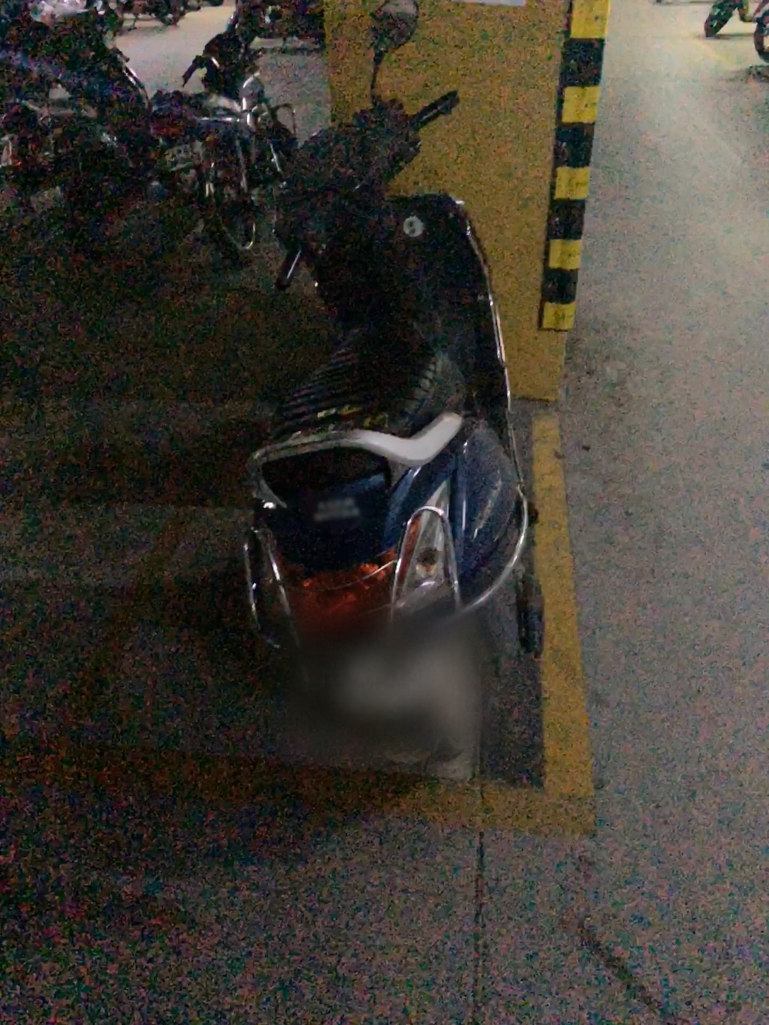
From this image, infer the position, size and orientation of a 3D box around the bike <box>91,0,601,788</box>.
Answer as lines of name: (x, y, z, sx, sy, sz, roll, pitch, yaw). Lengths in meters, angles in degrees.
bike: (-0.078, -0.342, 1.720, 0.630, 1.063, 1.275, -4, 43, -1)
